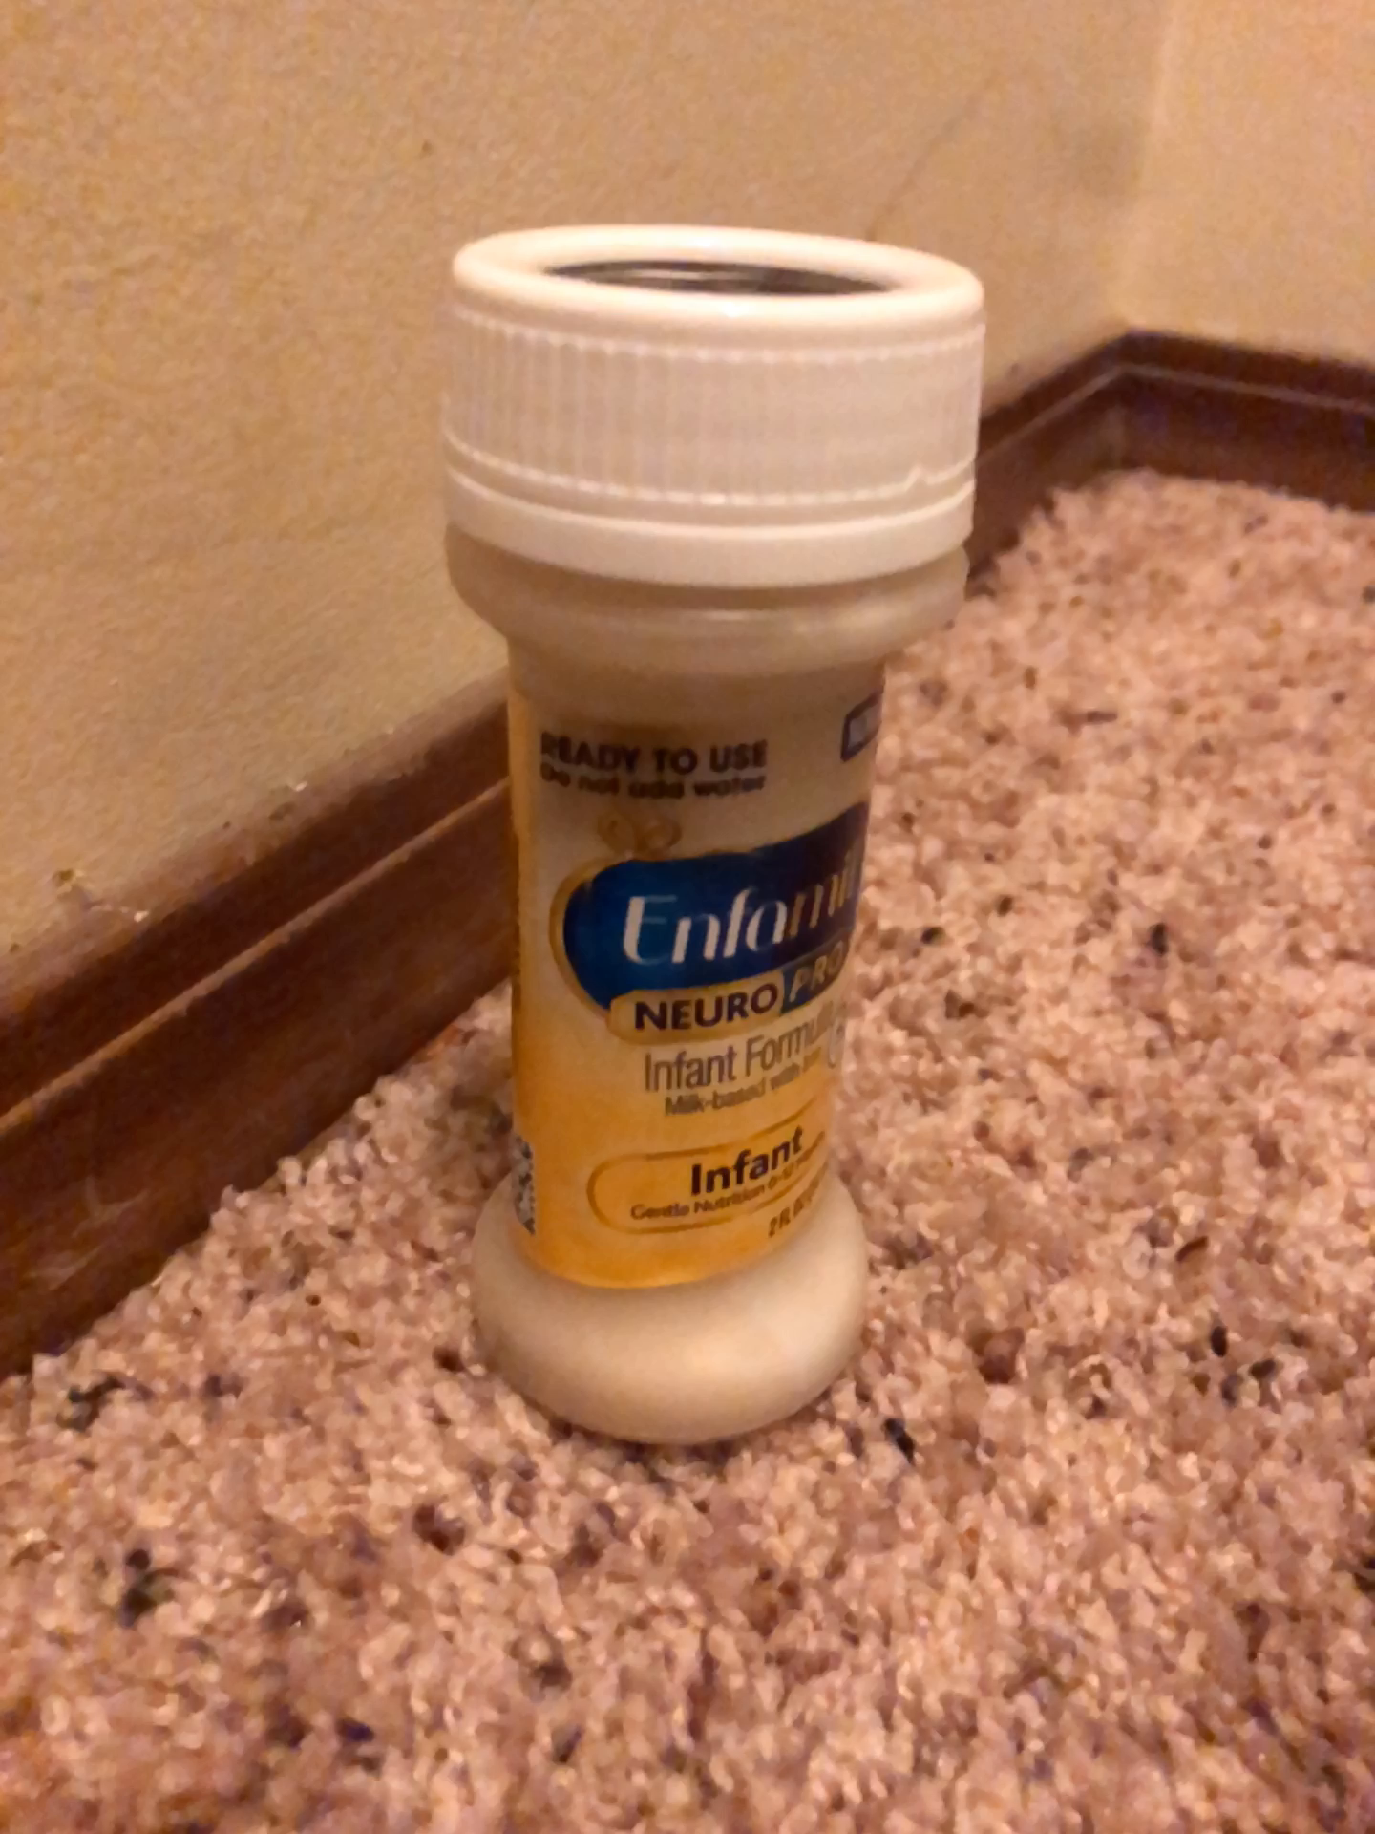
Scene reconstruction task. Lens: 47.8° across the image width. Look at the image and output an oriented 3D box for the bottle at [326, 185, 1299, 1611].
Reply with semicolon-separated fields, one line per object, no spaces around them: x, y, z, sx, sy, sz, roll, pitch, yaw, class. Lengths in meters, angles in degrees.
0.003;-0.002;0.139;0.050;0.110;0.050;3;32;-2;bottle
